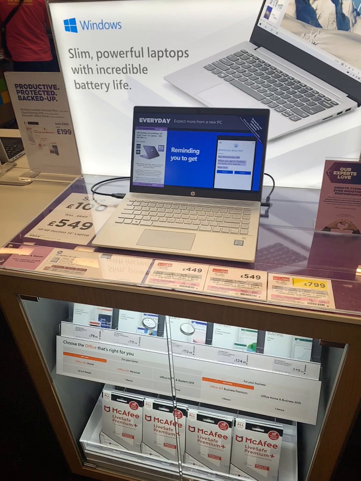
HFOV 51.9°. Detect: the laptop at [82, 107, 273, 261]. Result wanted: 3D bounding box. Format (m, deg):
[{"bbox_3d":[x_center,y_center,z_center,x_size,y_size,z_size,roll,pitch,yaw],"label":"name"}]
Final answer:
[{"bbox_3d":[0.021,-0.143,0.783,0.313,0.171,0.325,6,36,12],"label":"laptop"}]
